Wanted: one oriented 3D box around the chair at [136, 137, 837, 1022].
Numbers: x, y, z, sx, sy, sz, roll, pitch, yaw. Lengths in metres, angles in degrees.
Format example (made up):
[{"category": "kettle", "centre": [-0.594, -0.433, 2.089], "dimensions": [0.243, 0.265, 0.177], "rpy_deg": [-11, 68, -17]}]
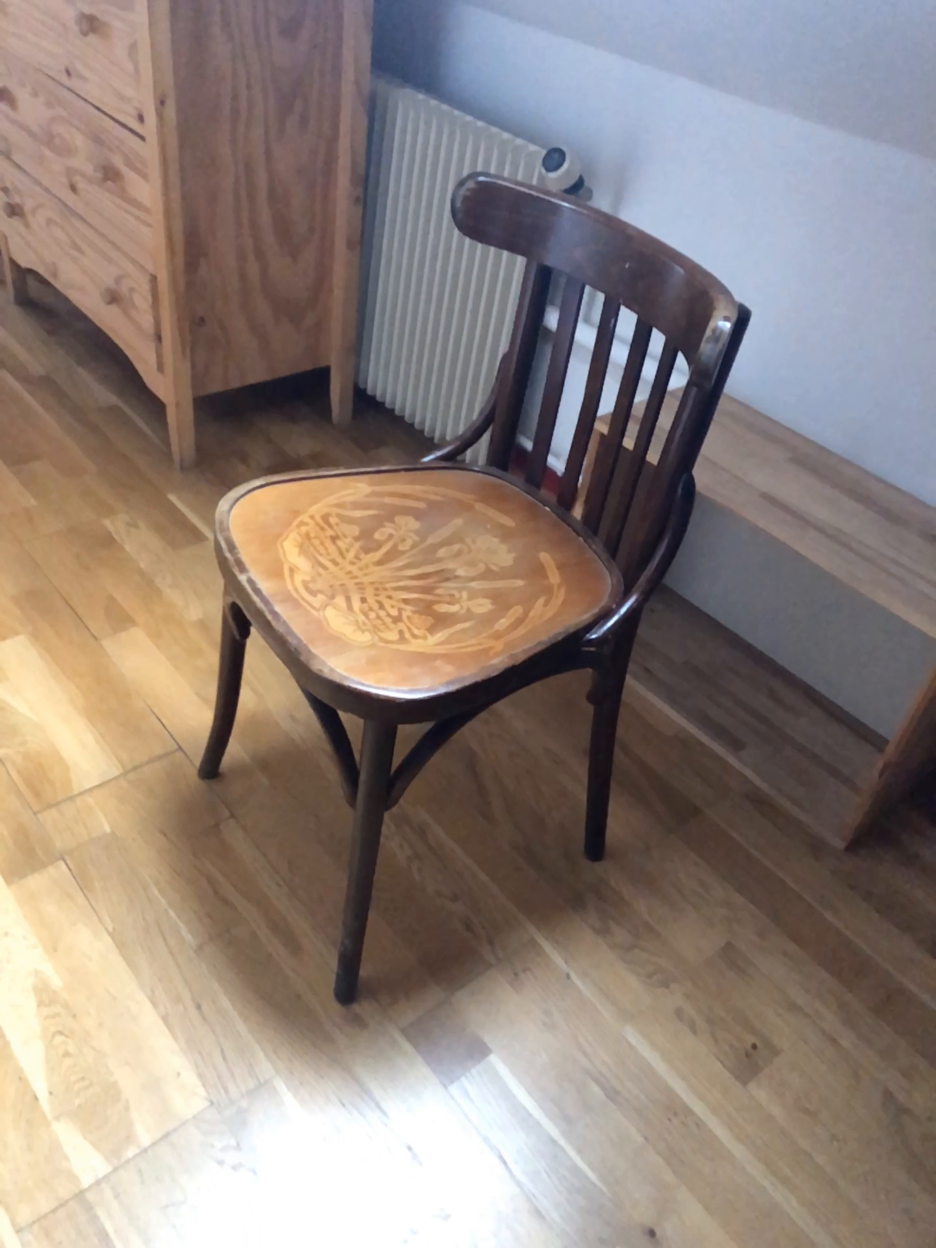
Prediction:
[{"category": "chair", "centre": [-0.046, -0.051, 1.081], "dimensions": [0.414, 0.737, 0.443], "rpy_deg": [-18, 47, -31]}]
